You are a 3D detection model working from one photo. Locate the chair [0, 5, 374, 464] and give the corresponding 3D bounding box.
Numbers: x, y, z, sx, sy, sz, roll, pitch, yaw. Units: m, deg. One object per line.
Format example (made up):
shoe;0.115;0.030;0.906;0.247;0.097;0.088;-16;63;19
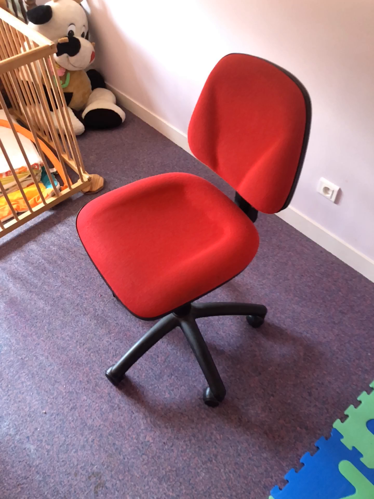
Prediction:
chair;-0.030;-0.016;1.128;0.672;0.895;0.642;-27;54;-20
